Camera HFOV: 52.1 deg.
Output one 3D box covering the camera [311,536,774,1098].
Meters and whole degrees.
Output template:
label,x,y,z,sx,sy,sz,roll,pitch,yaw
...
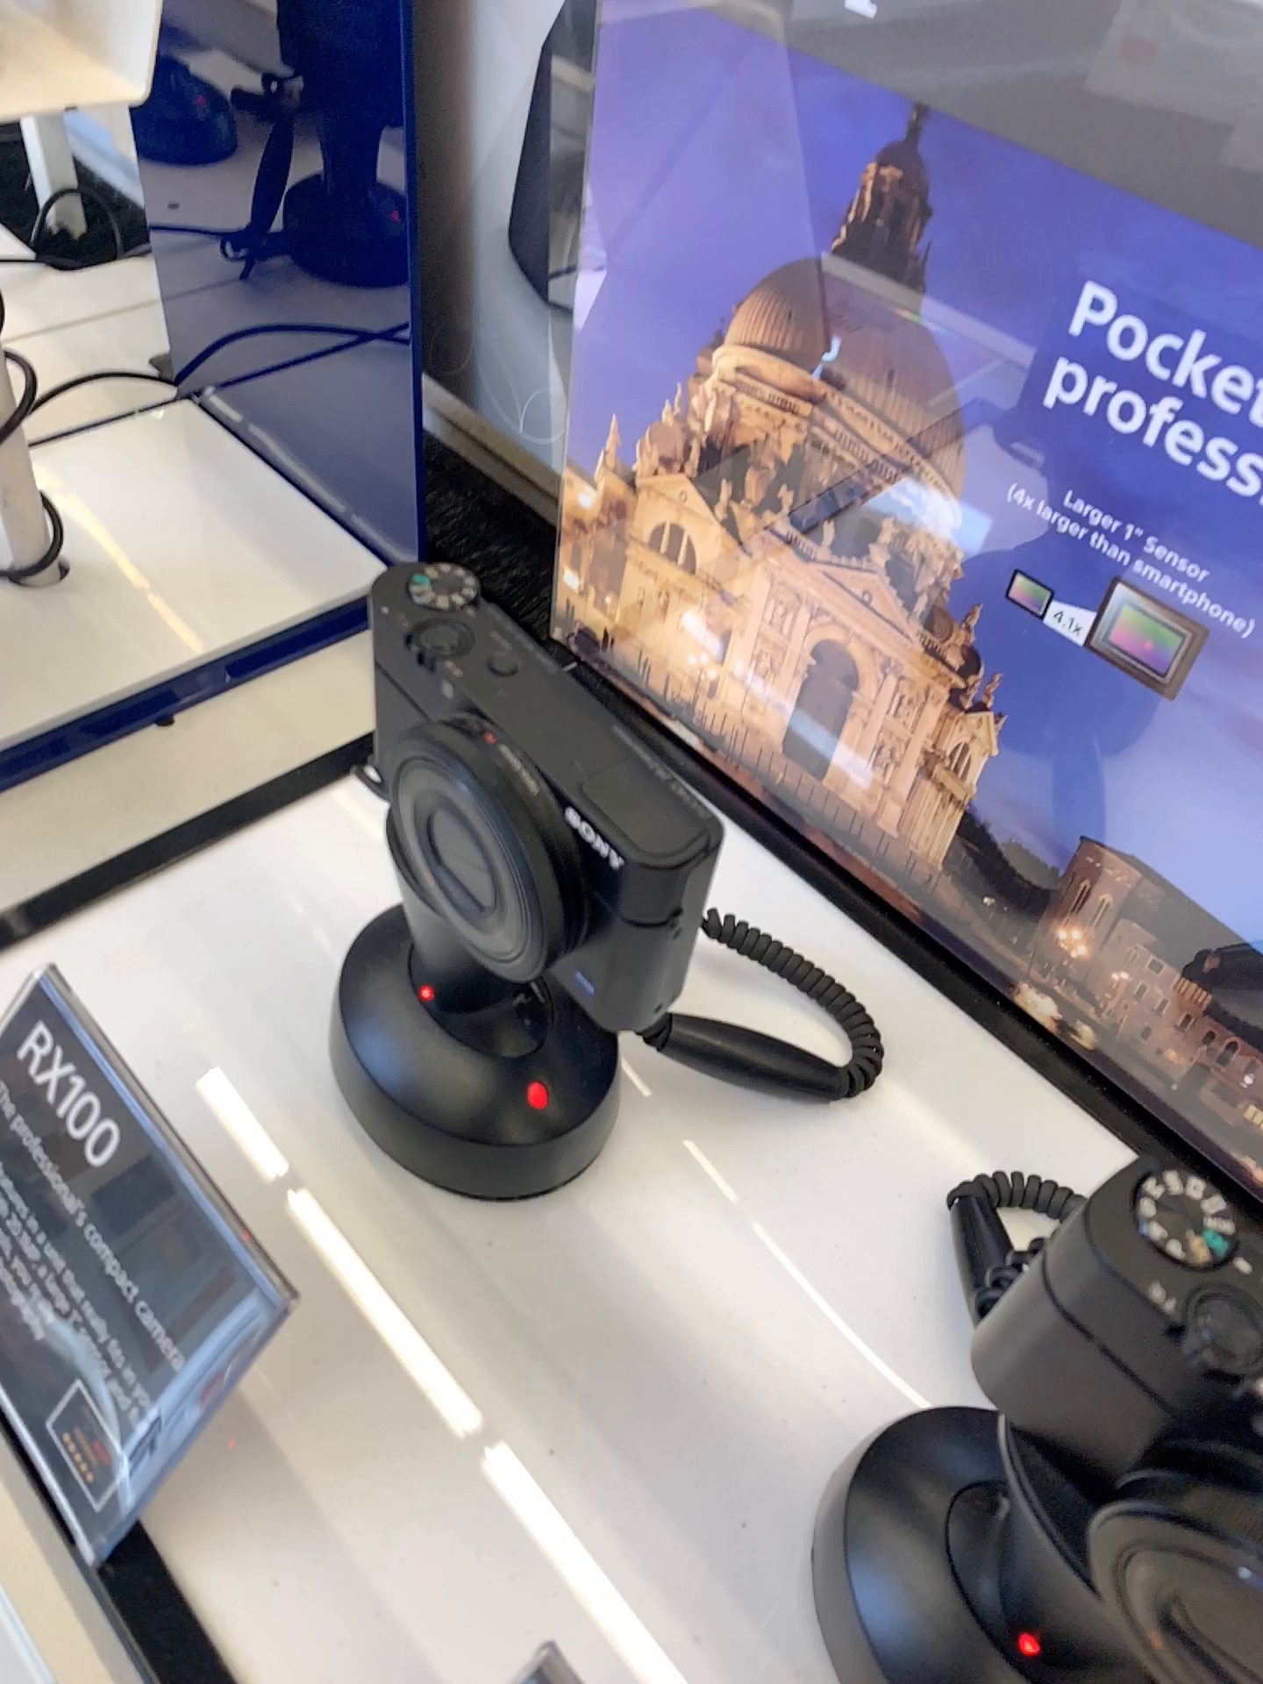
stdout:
label,x,y,z,sx,sy,sz,roll,pitch,yaw
camera,-0.024,-0.007,0.285,0.040,0.069,0.100,-30,57,-30
